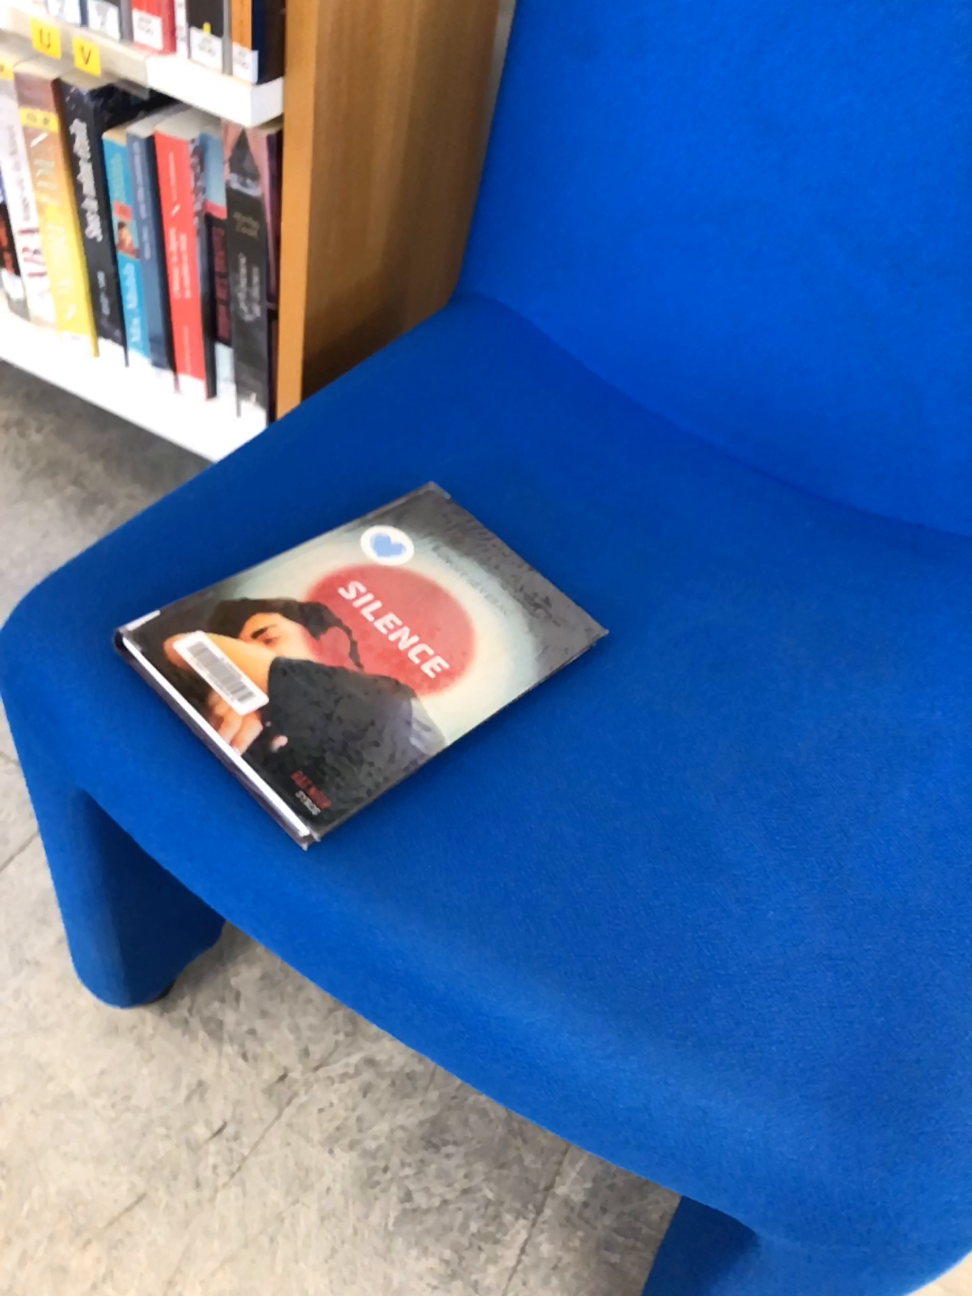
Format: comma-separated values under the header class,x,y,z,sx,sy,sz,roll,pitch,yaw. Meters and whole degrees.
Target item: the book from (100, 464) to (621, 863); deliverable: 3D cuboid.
class,x,y,z,sx,sy,sz,roll,pitch,yaw
book,-0.055,-0.007,0.534,0.212,0.023,0.146,-31,64,-37
